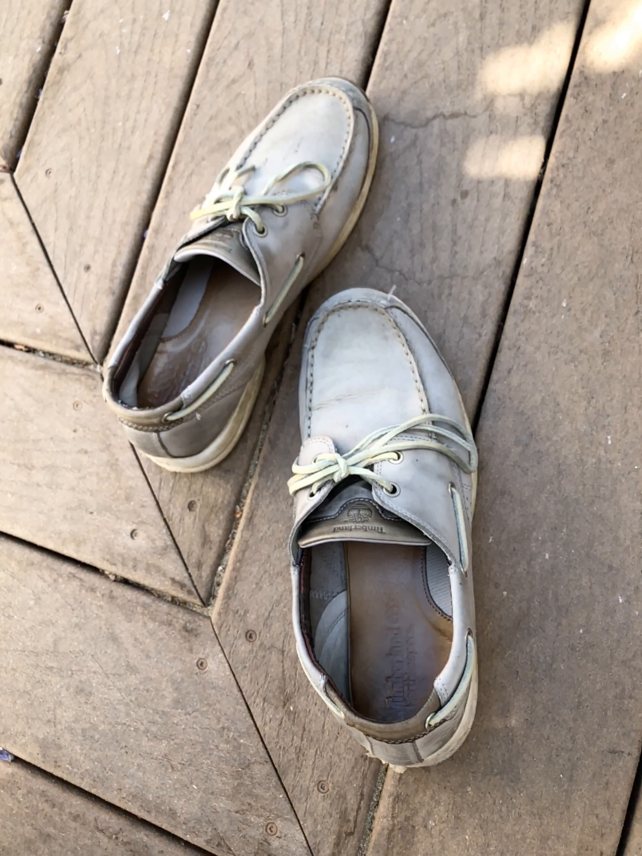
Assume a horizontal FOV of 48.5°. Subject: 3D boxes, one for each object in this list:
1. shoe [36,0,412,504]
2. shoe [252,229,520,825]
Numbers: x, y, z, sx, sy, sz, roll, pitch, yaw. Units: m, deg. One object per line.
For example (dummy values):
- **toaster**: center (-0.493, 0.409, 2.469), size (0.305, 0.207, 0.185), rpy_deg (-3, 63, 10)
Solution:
- **shoe**: center (-0.057, -0.119, 0.497), size (0.116, 0.099, 0.314), rpy_deg (22, 85, 18)
- **shoe**: center (0.040, 0.055, 0.438), size (0.120, 0.109, 0.310), rpy_deg (-7, 77, 14)
